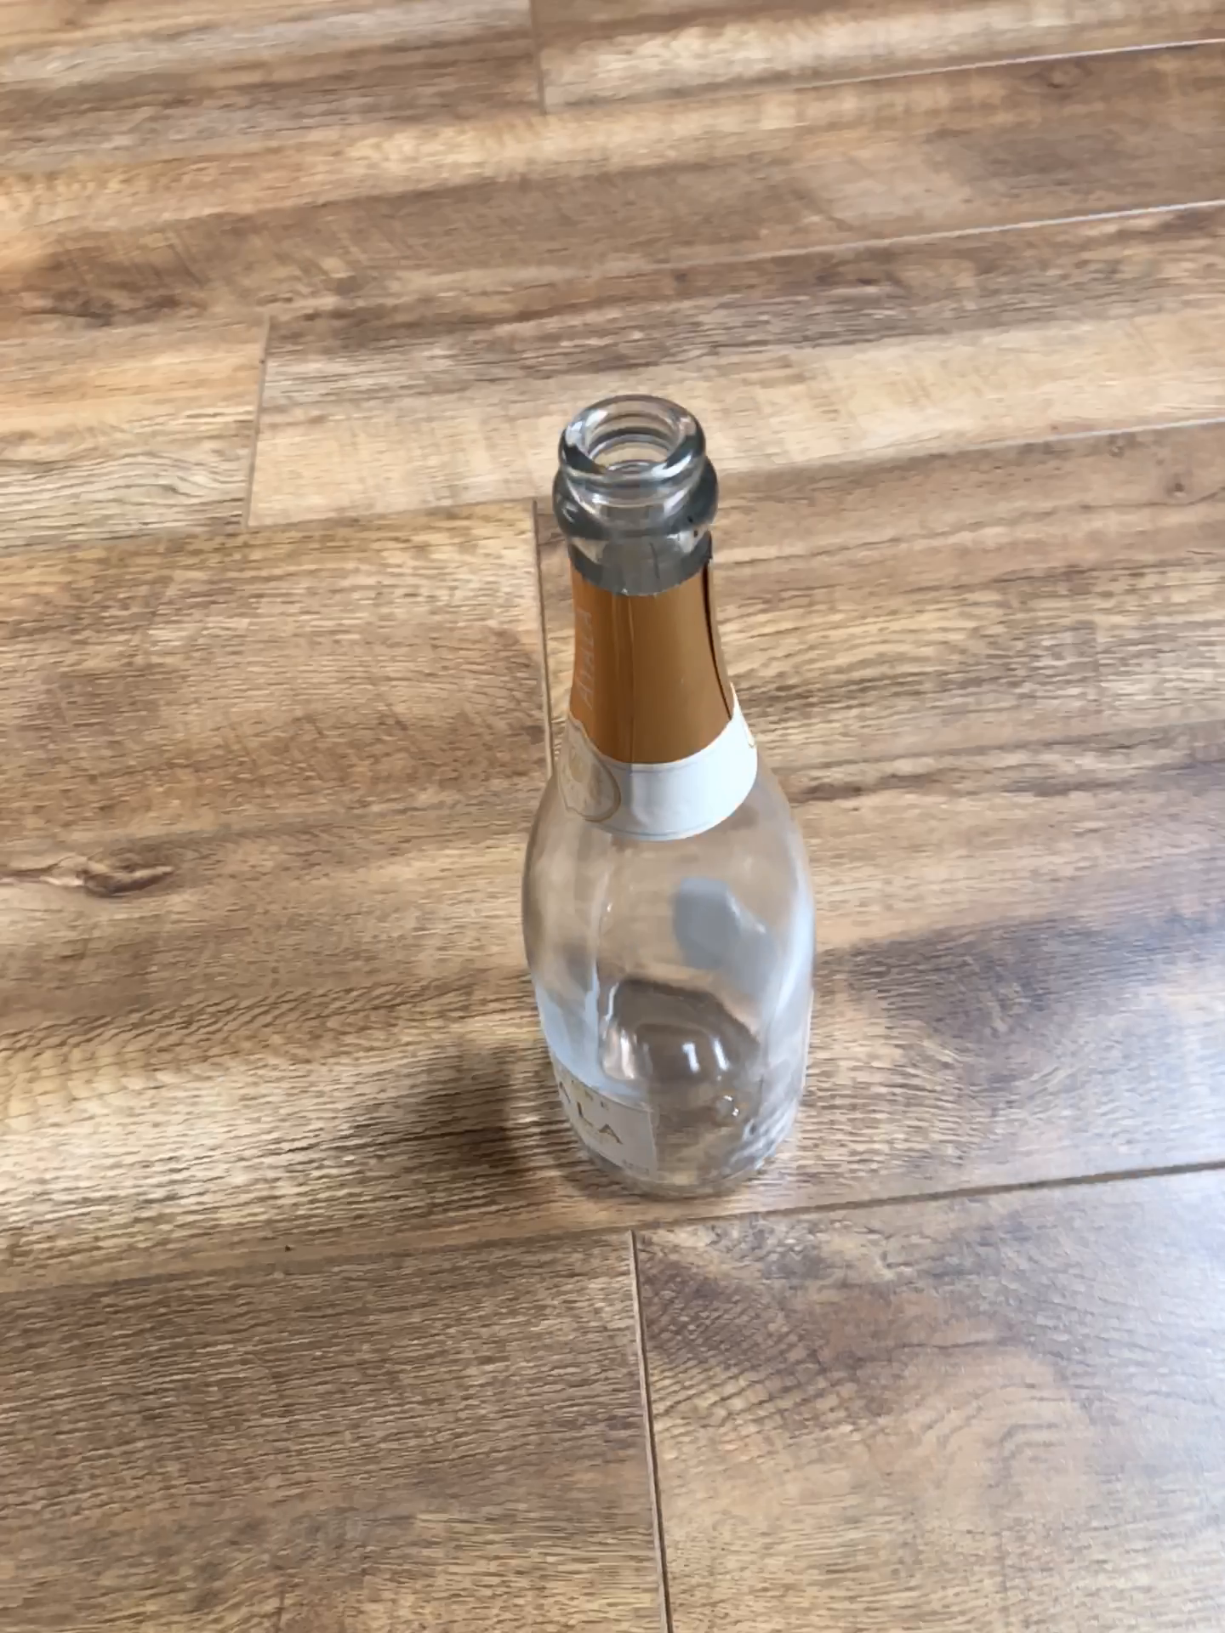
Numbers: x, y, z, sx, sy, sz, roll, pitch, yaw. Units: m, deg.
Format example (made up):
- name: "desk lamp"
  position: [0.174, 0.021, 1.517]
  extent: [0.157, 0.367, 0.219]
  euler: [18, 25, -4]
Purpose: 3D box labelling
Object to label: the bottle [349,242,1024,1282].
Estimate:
- name: "bottle"
  position: [0.022, 0.018, 0.368]
  extent: [0.090, 0.298, 0.090]
  euler: [-3, 54, 4]
